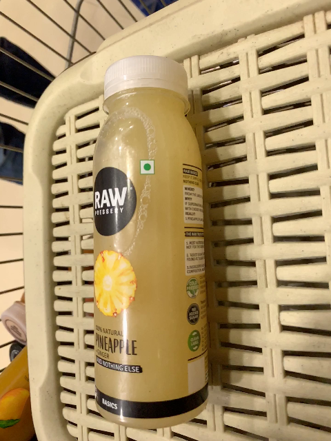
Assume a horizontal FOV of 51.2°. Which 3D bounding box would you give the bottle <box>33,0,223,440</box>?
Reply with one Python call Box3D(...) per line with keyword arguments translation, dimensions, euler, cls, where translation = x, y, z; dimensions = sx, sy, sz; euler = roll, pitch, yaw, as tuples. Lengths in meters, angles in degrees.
Box3D(translation=(-0.014, -0.001, 0.151), dimensions=(0.060, 0.050, 0.160), euler=(-3, 83, 32), cls="bottle")
